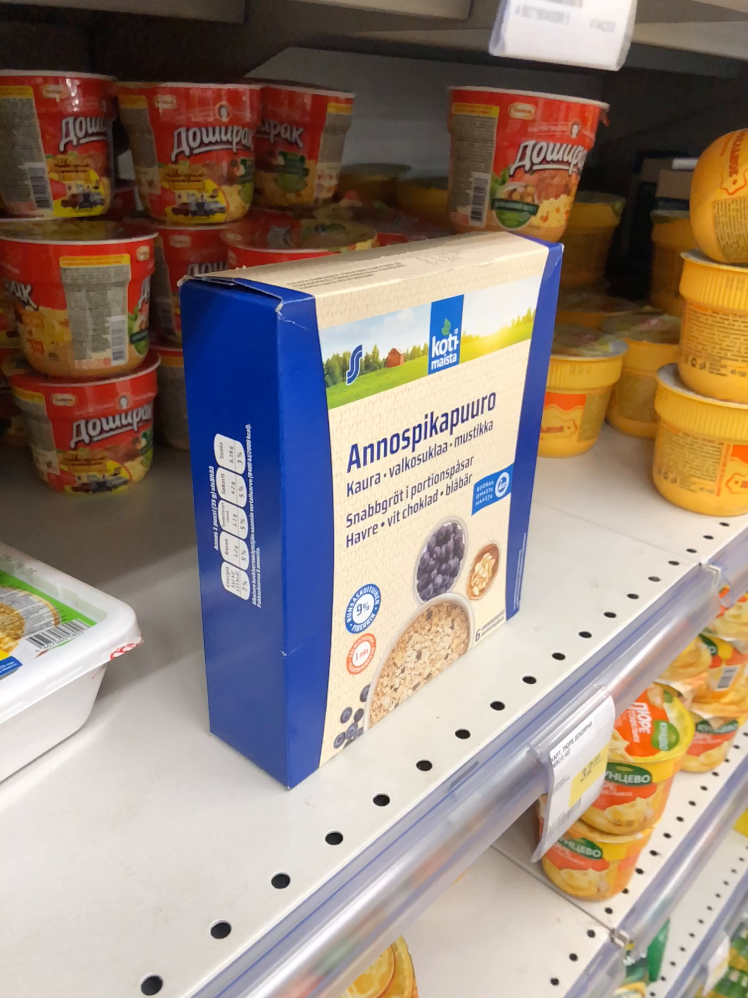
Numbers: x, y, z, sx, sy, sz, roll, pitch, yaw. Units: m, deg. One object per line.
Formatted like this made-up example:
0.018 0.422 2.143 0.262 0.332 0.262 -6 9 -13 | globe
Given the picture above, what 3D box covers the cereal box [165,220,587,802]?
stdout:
0.009 -0.007 0.330 0.050 0.179 0.171 22 32 35 | cereal box
